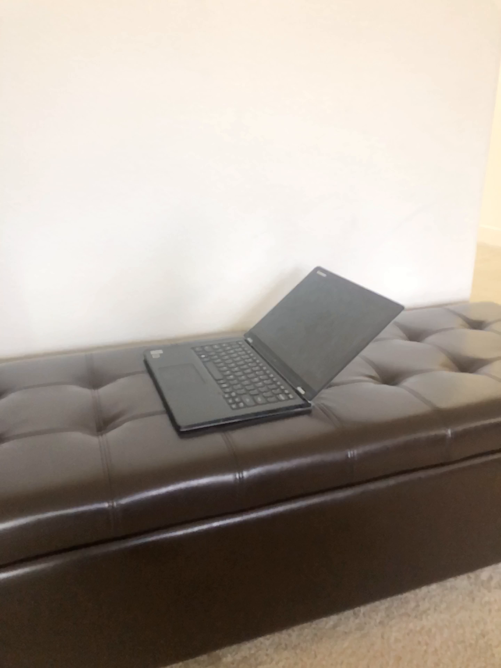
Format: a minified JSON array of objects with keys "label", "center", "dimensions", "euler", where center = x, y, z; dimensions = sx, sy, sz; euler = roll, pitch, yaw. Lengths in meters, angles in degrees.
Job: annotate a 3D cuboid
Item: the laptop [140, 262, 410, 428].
[{"label":"laptop","center":[0.020,-0.006,0.818],"dimensions":[0.317,0.115,0.262],"euler":[-9,22,-19]}]
